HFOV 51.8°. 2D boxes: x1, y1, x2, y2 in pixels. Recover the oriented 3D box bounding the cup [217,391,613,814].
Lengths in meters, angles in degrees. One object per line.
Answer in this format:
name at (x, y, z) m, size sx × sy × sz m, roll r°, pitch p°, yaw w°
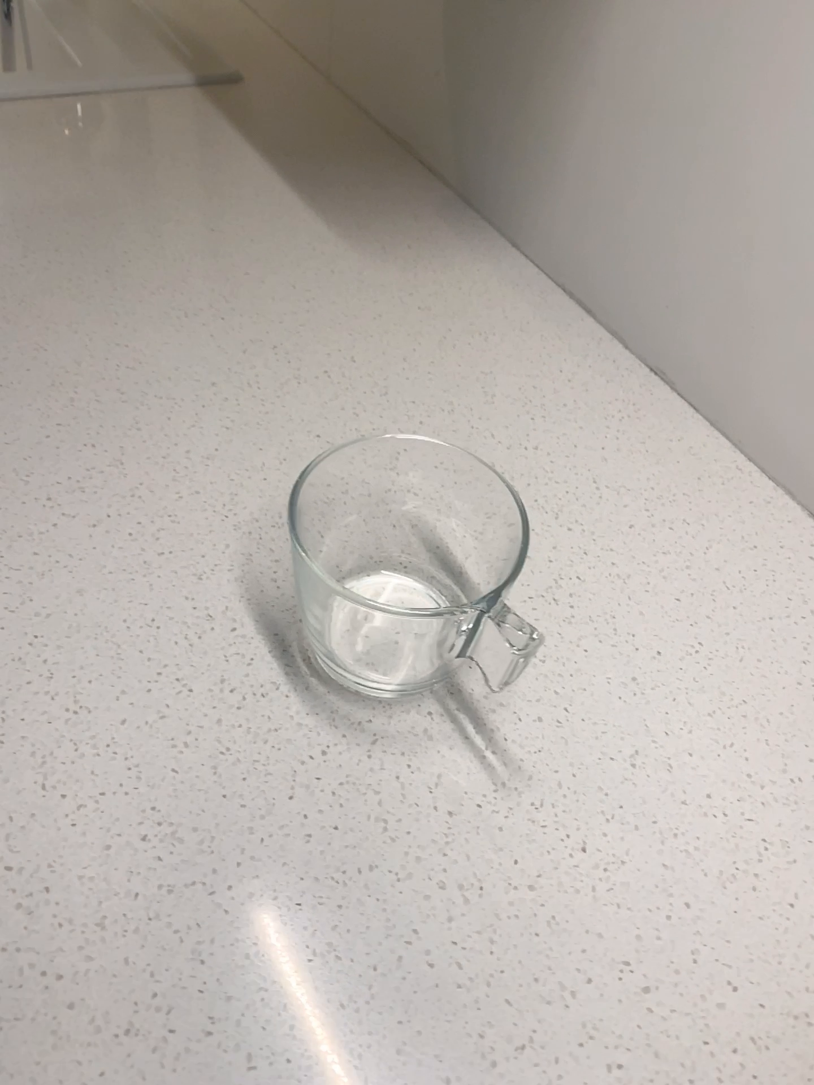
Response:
cup at (-0.004, 0.018, 0.319) m, size 0.090 × 0.080 × 0.110 m, roll -25°, pitch 57°, yaw -28°
